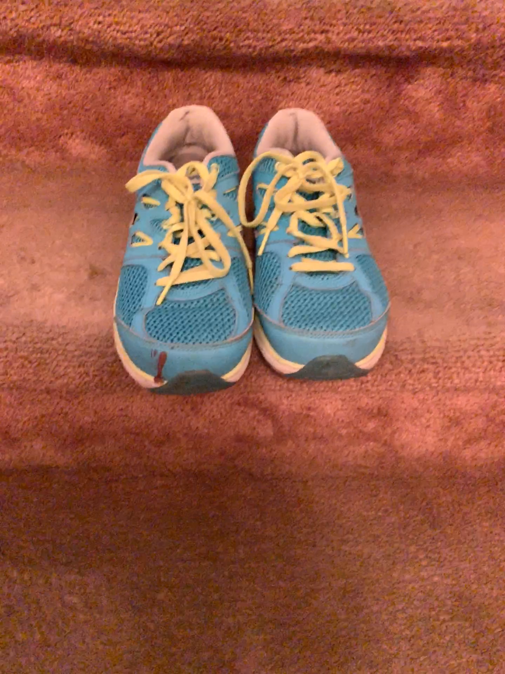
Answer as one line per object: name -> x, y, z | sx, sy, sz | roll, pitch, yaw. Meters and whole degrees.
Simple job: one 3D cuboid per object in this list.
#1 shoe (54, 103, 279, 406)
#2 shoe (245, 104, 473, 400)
shoe -> -0.054, -0.086, 0.398 | 0.110, 0.099, 0.283 | -1, 39, -5
shoe -> 0.052, -0.088, 0.404 | 0.110, 0.099, 0.283 | 1, 38, -2
